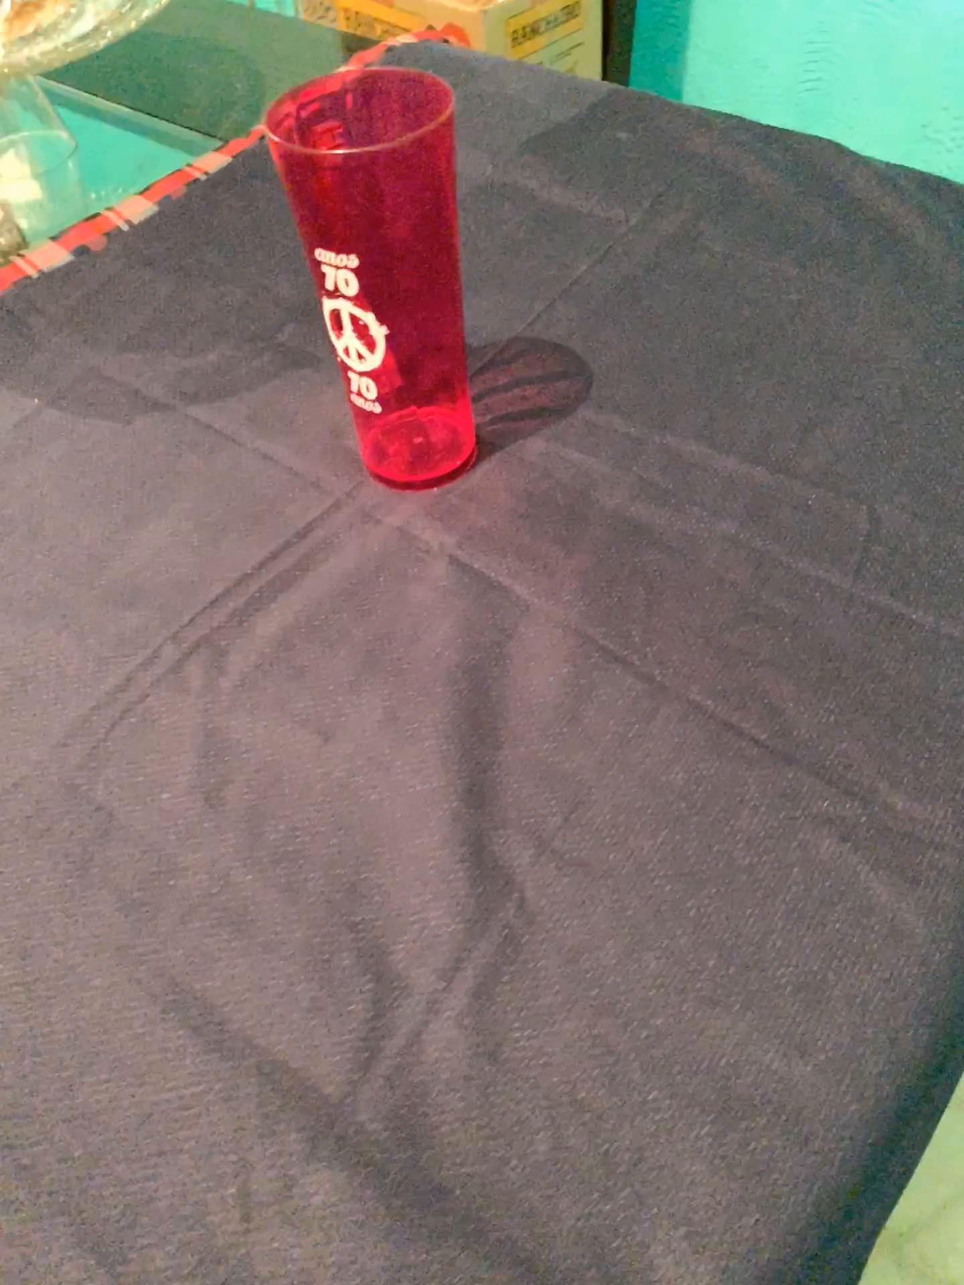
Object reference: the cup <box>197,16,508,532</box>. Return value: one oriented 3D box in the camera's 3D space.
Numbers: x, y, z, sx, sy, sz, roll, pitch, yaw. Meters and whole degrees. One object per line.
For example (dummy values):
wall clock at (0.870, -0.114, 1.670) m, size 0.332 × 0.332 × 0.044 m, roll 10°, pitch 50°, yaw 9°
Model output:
cup at (-0.049, -0.151, 0.426) m, size 0.070 × 0.169 × 0.100 m, roll -25°, pitch 53°, yaw -14°
